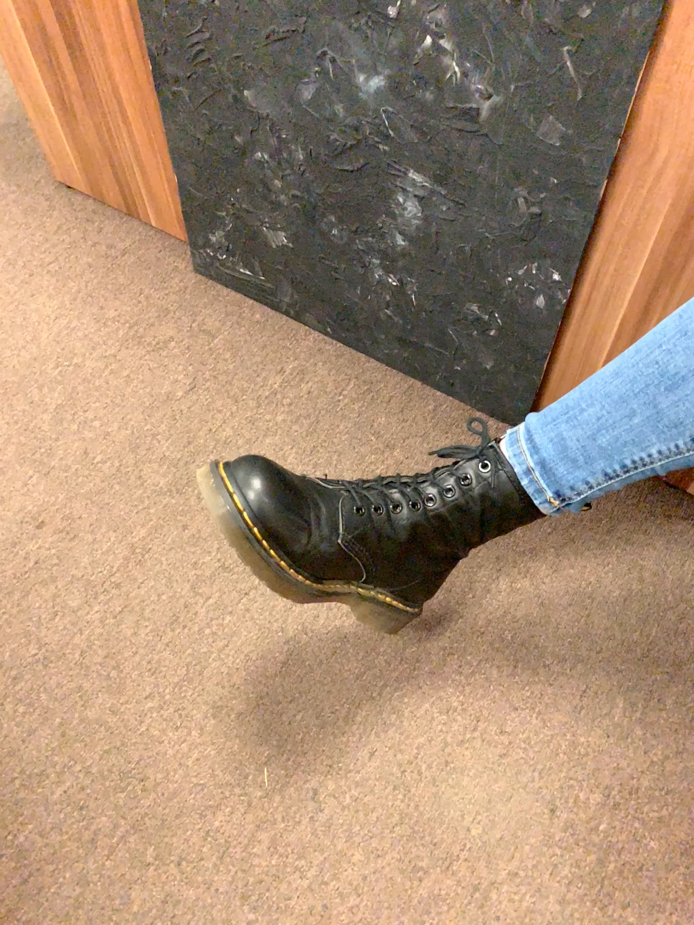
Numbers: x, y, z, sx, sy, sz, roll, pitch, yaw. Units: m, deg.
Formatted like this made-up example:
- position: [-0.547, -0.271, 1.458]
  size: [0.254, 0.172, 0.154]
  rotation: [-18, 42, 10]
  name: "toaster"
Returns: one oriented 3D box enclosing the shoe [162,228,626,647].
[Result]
- position: [0.072, 0.024, 0.584]
  size: [0.230, 0.369, 0.120]
  rotation: [-34, 59, 13]
  name: "shoe"
